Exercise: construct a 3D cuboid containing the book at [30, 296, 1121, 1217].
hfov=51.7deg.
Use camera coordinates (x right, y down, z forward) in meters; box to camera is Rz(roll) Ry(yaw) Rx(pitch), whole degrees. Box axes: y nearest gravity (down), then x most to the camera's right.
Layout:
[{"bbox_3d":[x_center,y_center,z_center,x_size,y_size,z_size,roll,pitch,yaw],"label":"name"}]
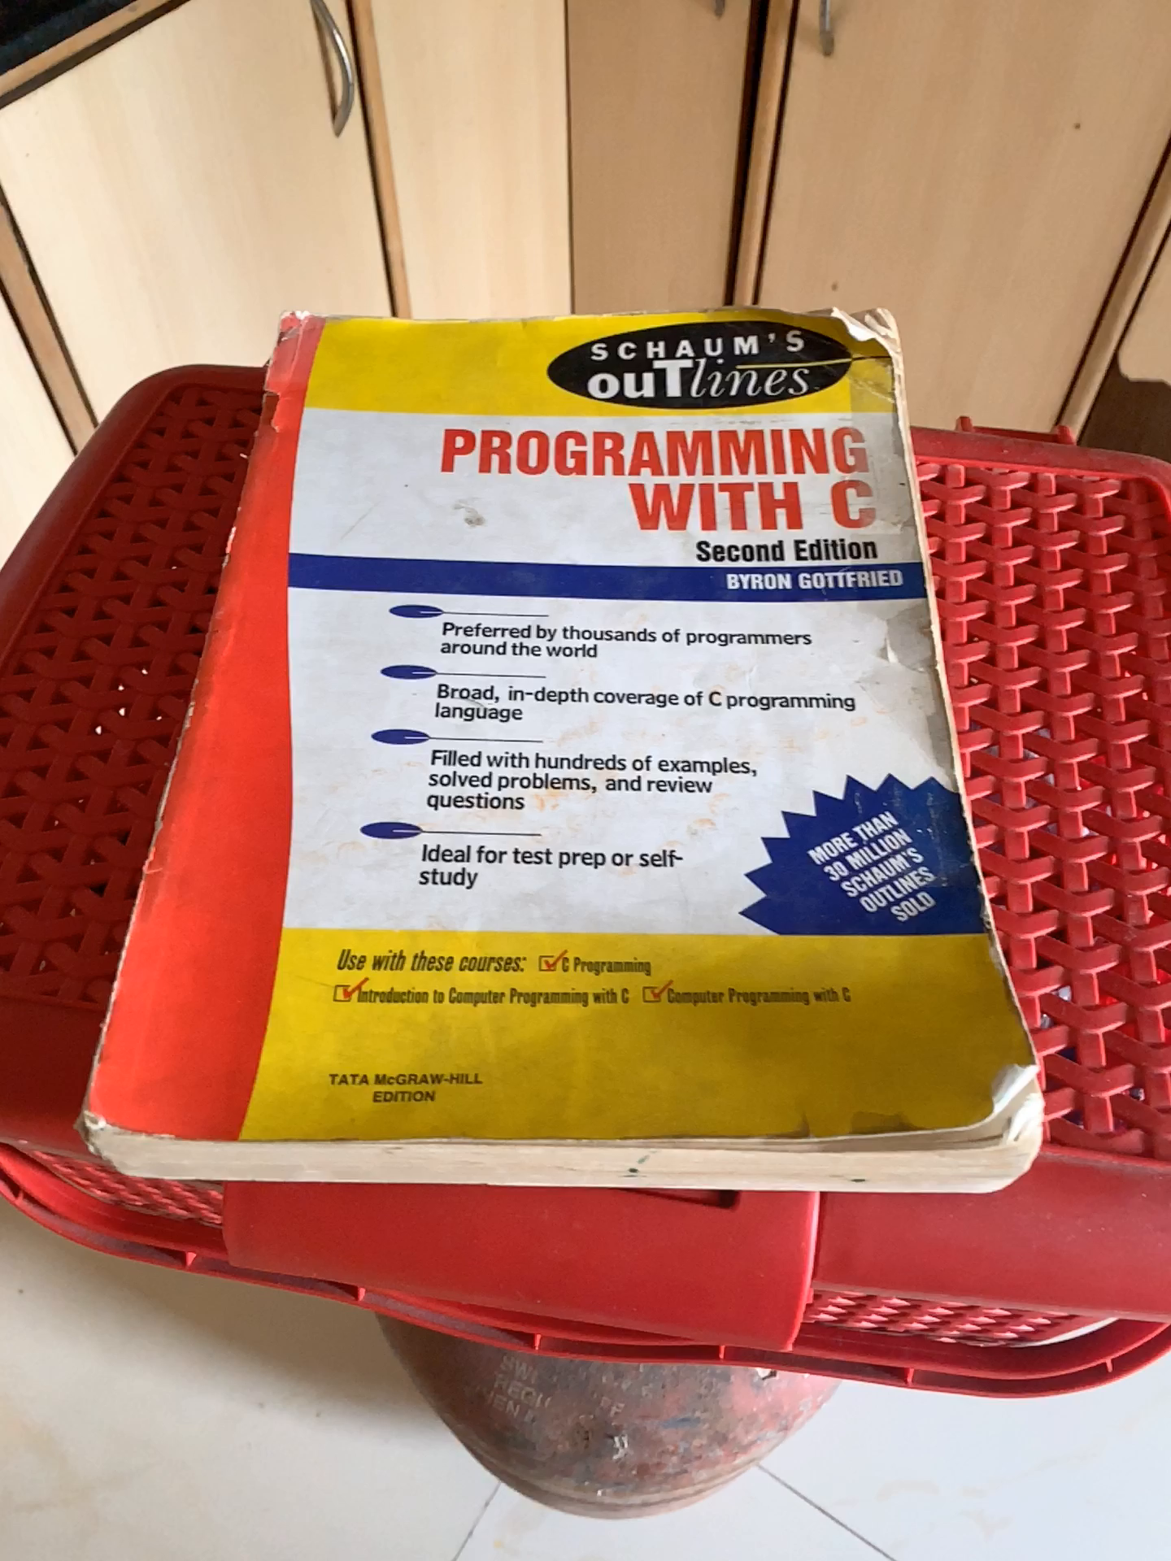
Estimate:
[{"bbox_3d":[0.001,-0.026,0.312,0.200,0.050,0.251,1,56,1],"label":"book"}]
